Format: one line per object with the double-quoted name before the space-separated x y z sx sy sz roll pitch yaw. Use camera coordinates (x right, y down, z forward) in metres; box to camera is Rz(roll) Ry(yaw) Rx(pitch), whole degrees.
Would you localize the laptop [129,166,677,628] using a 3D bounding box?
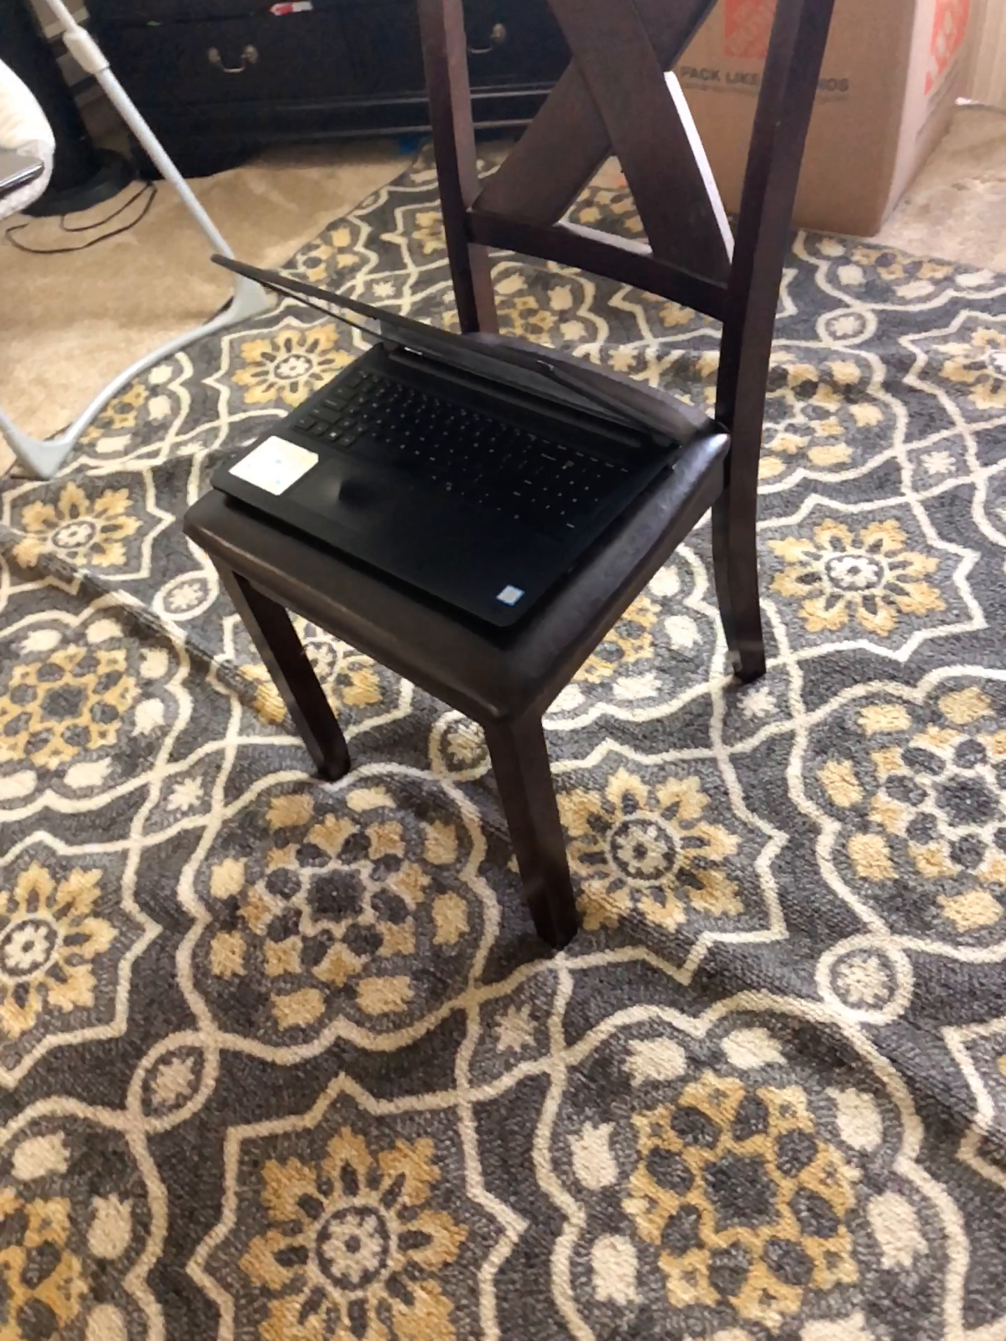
"laptop" -0.075 -0.247 0.943 0.367 0.185 0.245 27 60 28
